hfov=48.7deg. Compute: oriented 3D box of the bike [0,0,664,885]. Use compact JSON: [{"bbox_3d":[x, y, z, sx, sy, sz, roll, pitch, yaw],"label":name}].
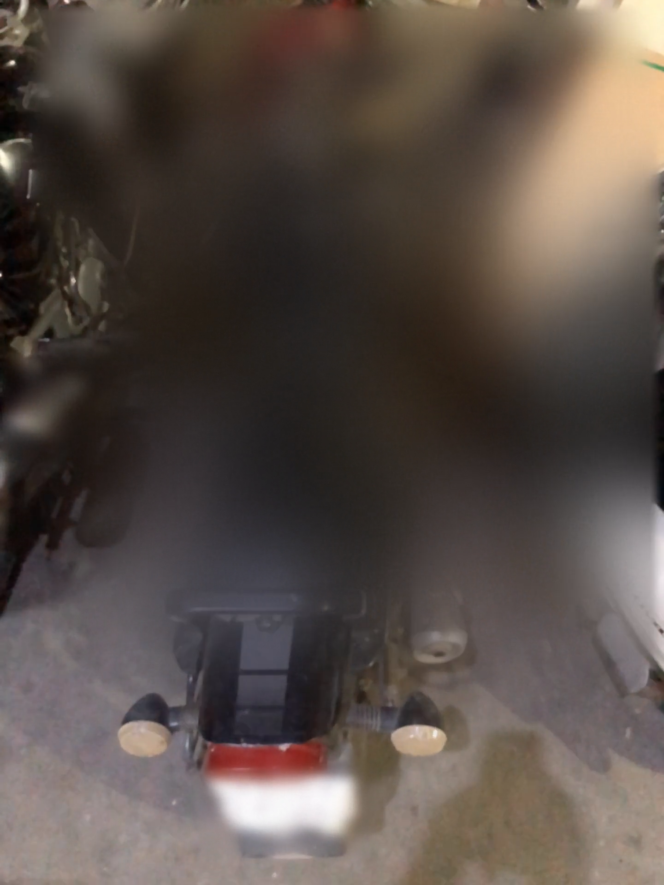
[{"bbox_3d":[-0.162,-0.235,1.550,0.863,1.251,1.676,11,42,-13],"label":"bike"}]
